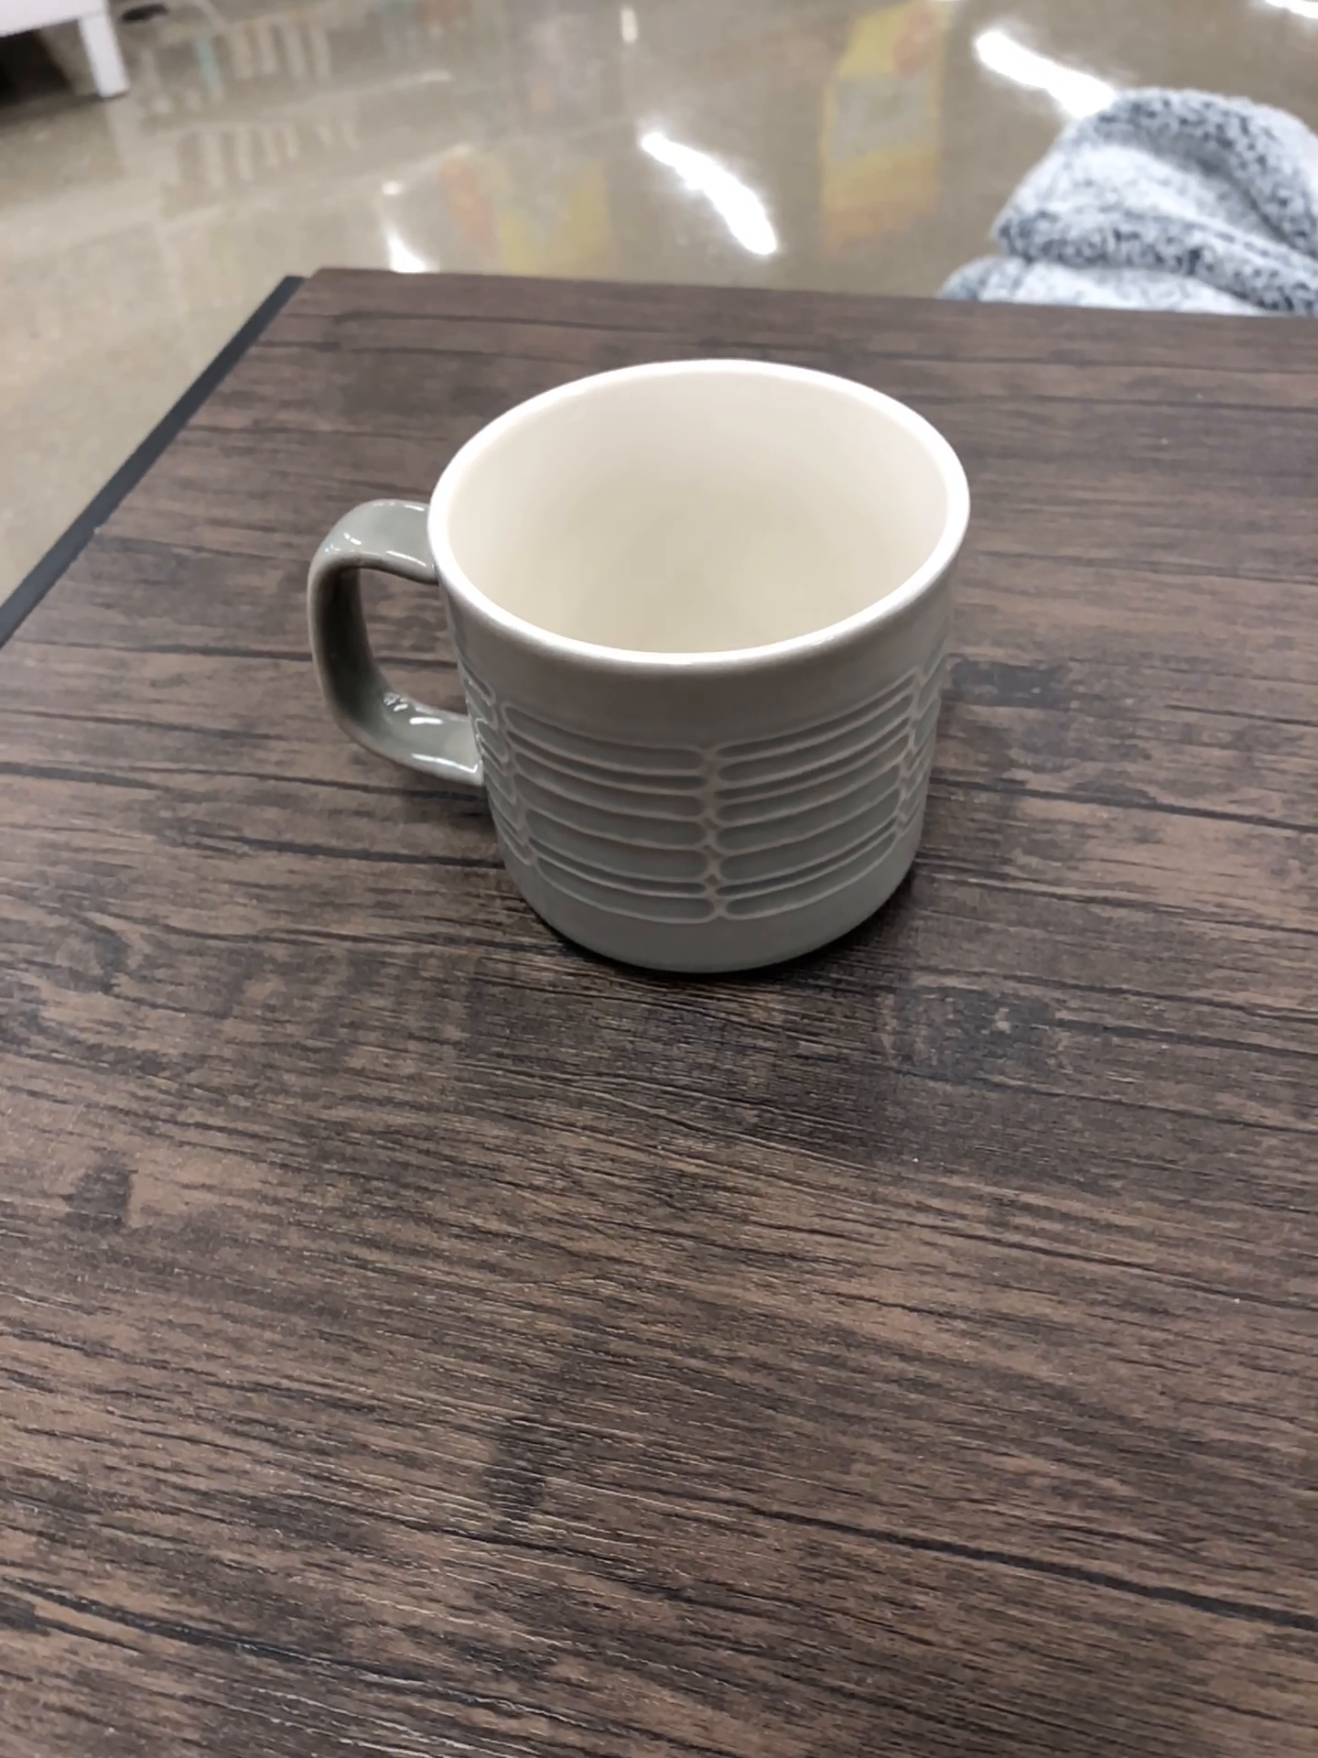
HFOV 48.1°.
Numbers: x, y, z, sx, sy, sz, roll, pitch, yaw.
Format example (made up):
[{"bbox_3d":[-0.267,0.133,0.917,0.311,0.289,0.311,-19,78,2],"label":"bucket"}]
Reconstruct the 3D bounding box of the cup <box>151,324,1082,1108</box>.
[{"bbox_3d":[-0.001,-0.038,0.296,0.140,0.090,0.100,13,49,16],"label":"cup"}]
